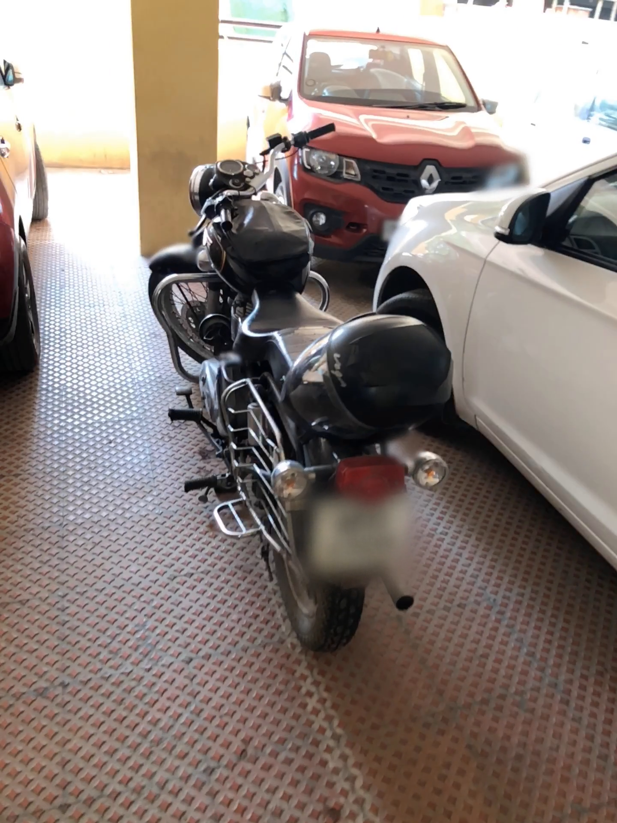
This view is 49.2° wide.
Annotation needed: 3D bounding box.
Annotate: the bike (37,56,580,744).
[{"bbox_3d":[-0.273,-0.237,2.070,0.692,1.217,1.791,-9,36,-23],"label":"bike"}]
